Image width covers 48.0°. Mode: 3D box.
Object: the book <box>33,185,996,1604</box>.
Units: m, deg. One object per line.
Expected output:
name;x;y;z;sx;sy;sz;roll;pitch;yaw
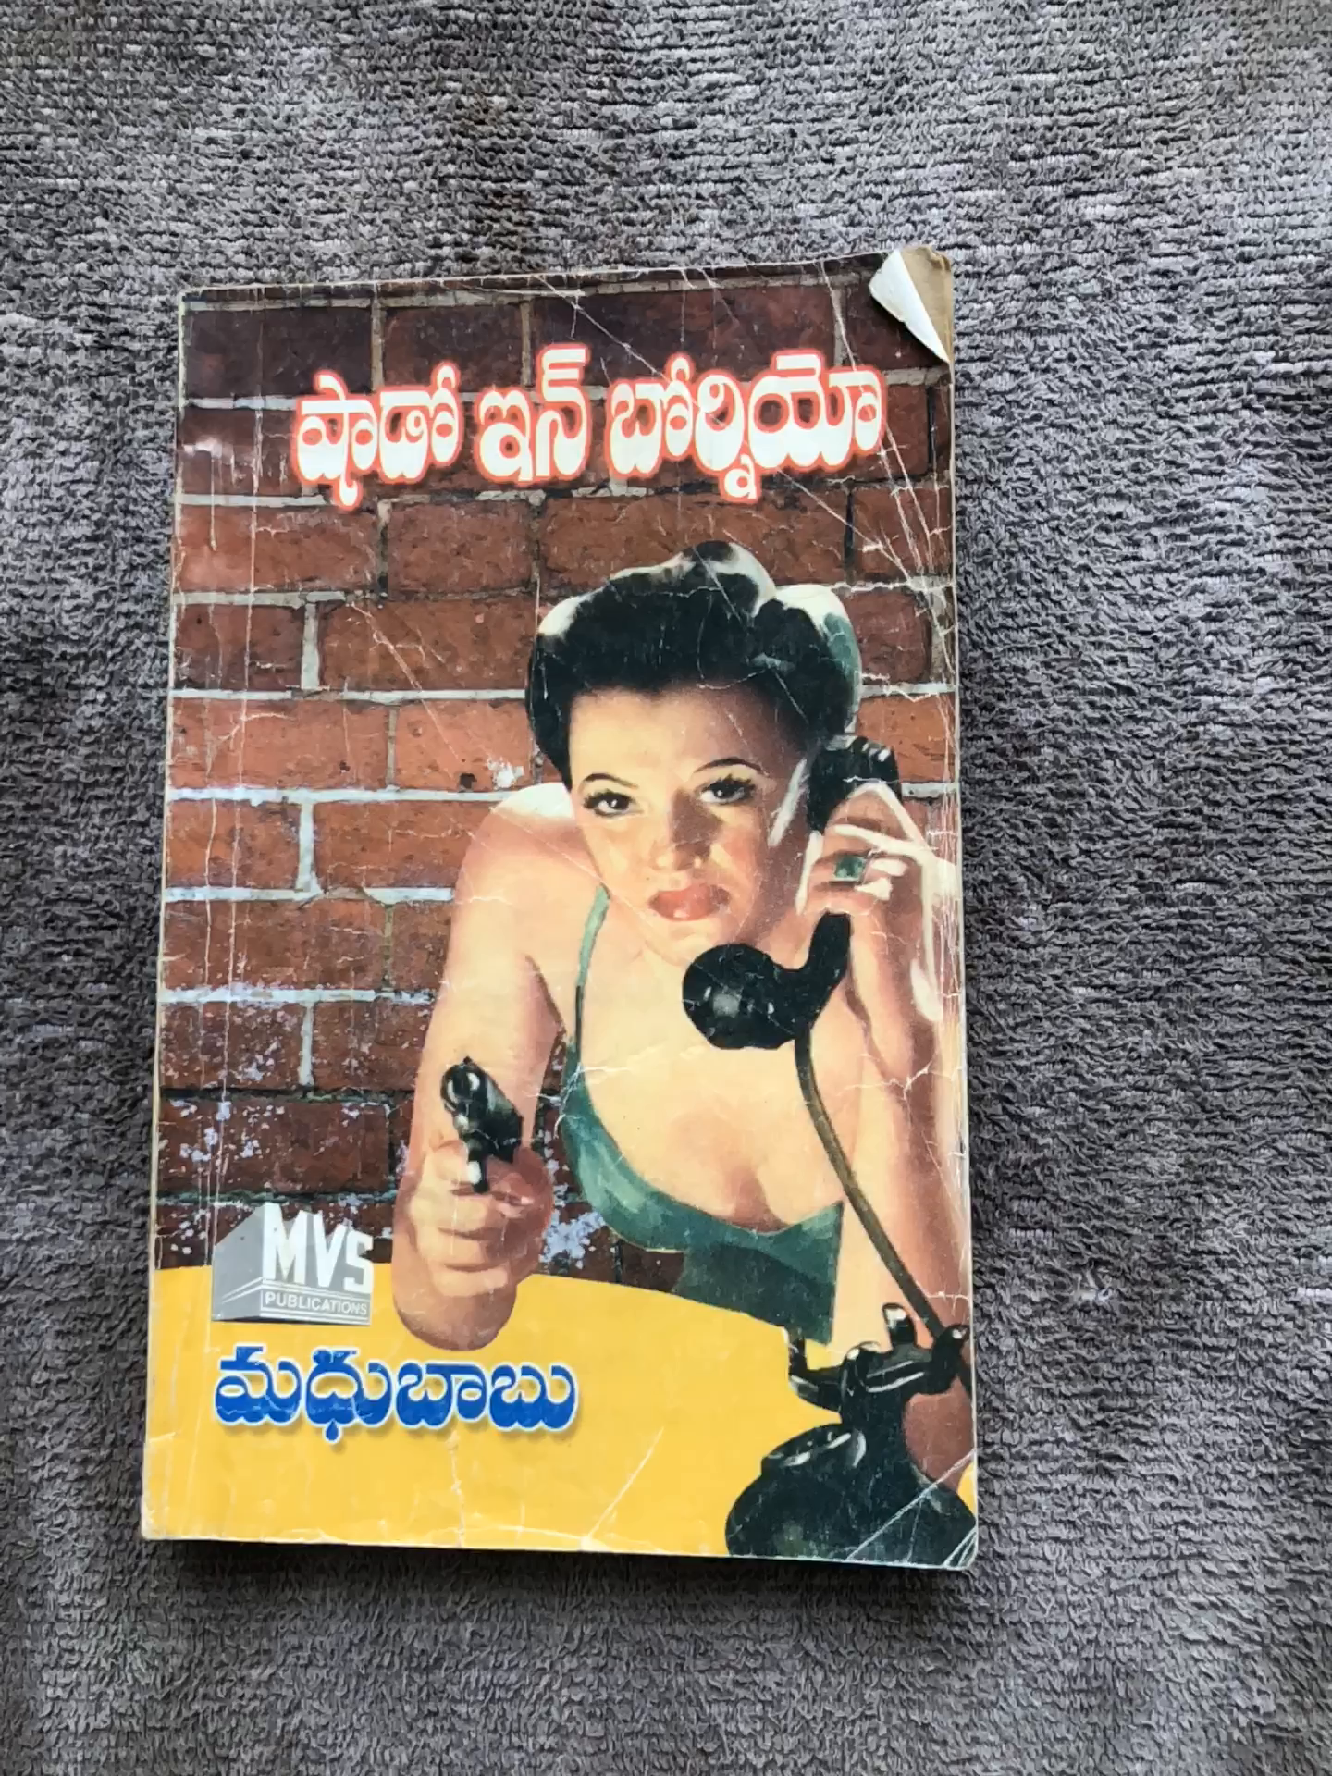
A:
book;-0.015;-0.001;0.180;0.100;0.040;0.150;0;86;3
